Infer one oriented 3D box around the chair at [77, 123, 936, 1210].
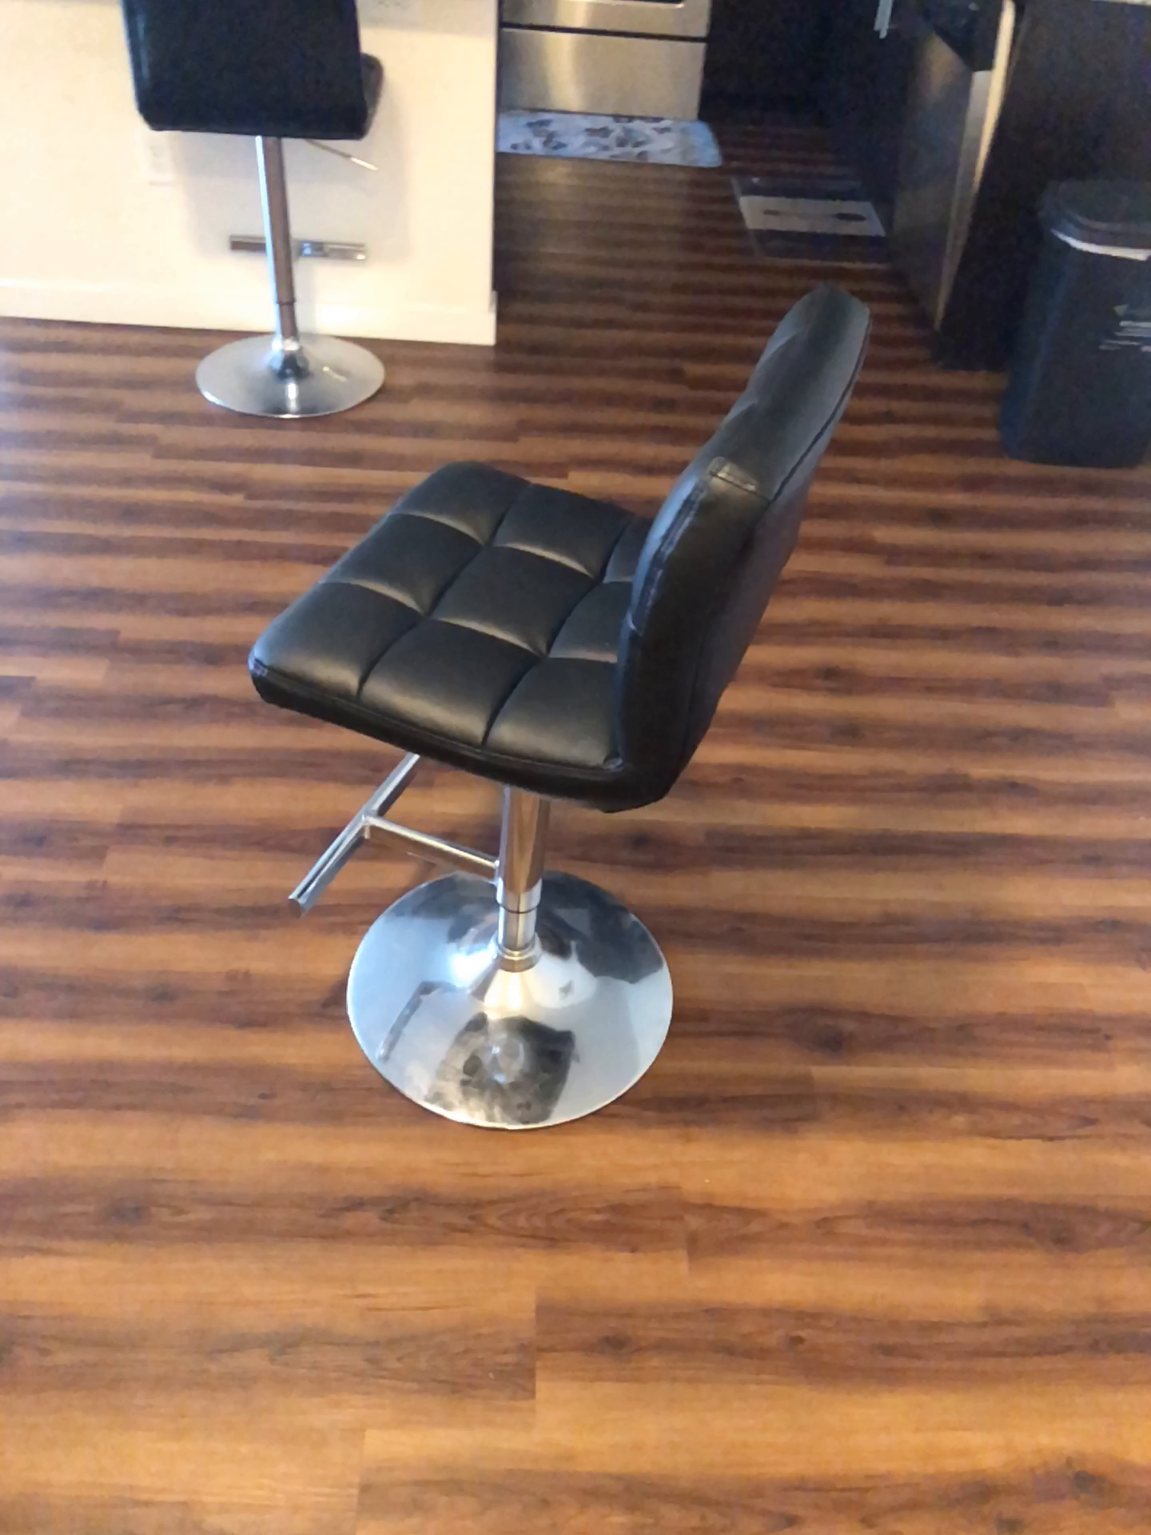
[{"bbox_3d":[-0.053,-0.088,1.406,0.568,0.952,0.537,19,43,14],"label":"chair"}]
